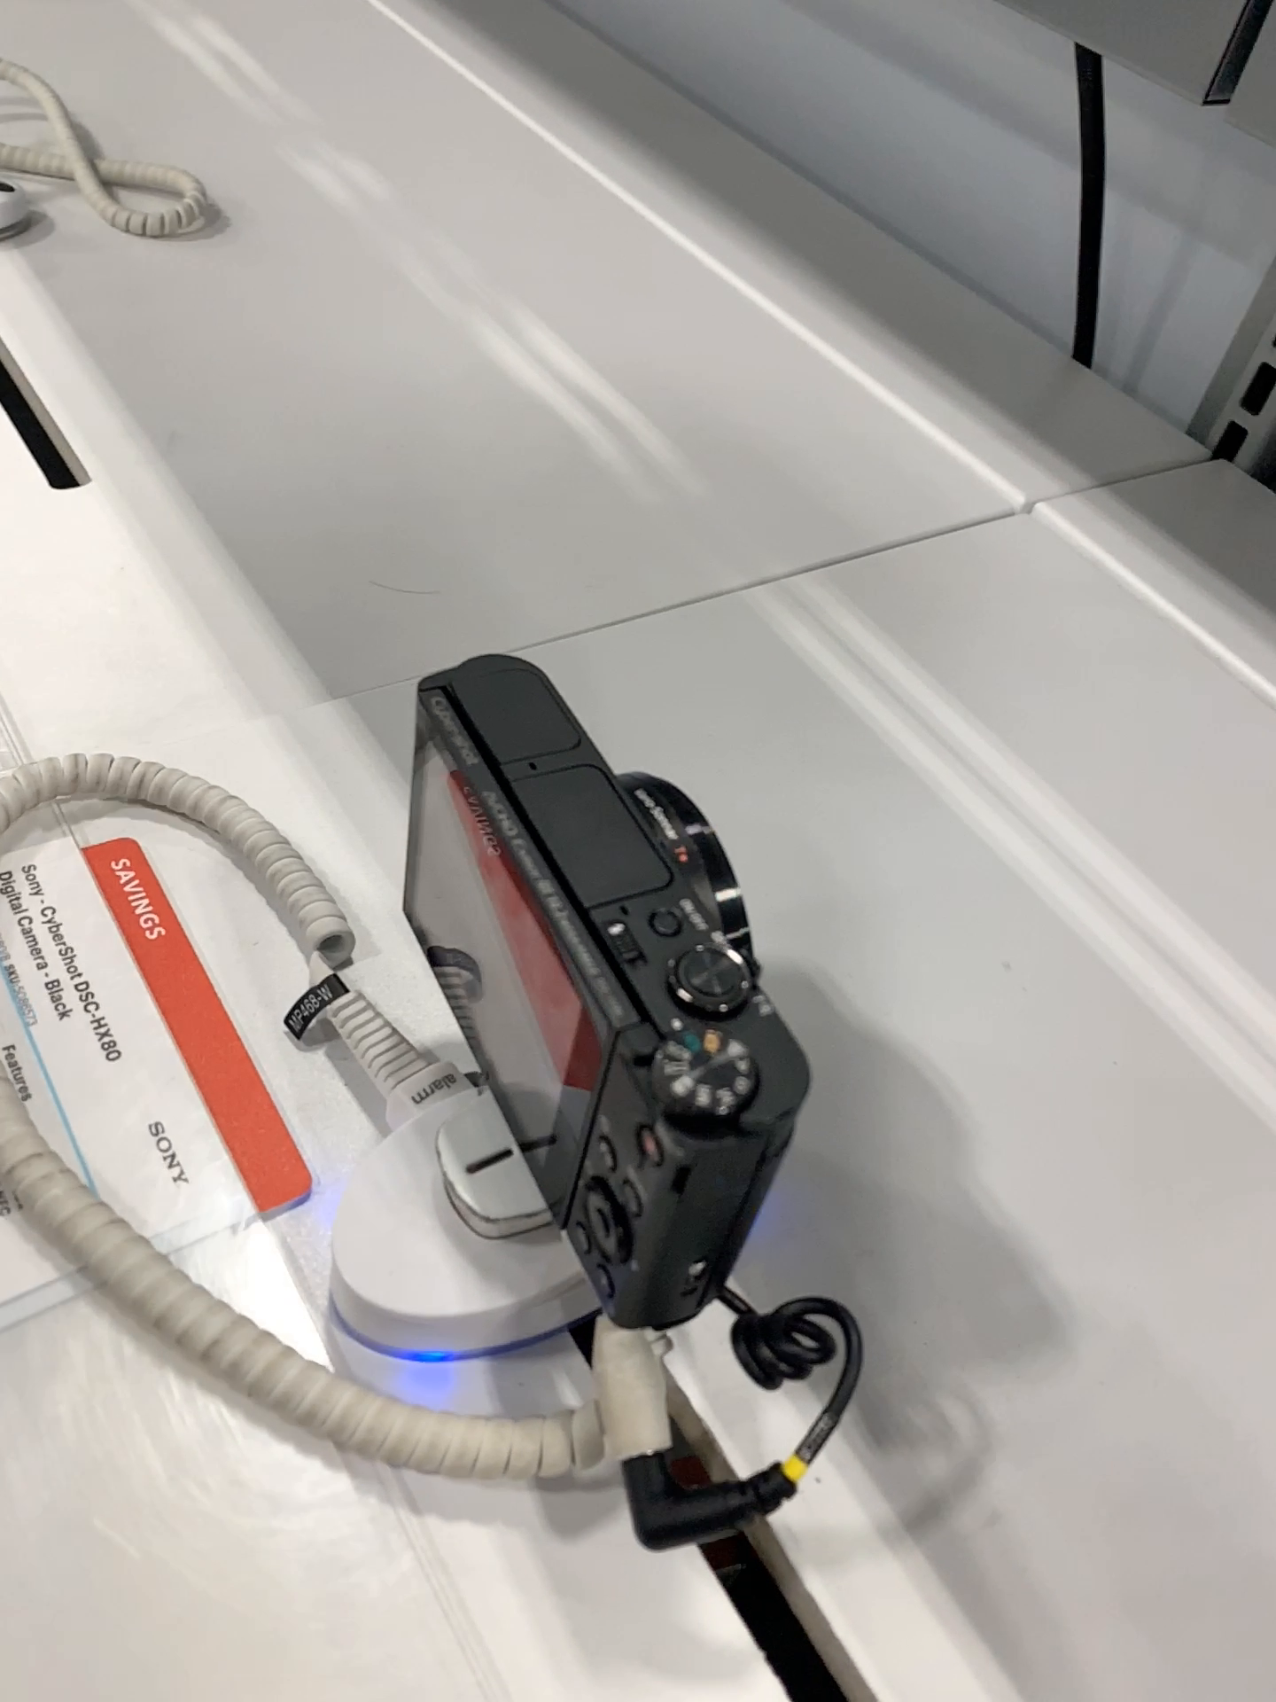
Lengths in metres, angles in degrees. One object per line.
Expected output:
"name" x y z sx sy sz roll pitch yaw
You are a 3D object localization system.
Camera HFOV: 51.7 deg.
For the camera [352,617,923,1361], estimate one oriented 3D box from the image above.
"camera" -0.008 0.017 0.215 0.040 0.052 0.104 -16 54 -27
